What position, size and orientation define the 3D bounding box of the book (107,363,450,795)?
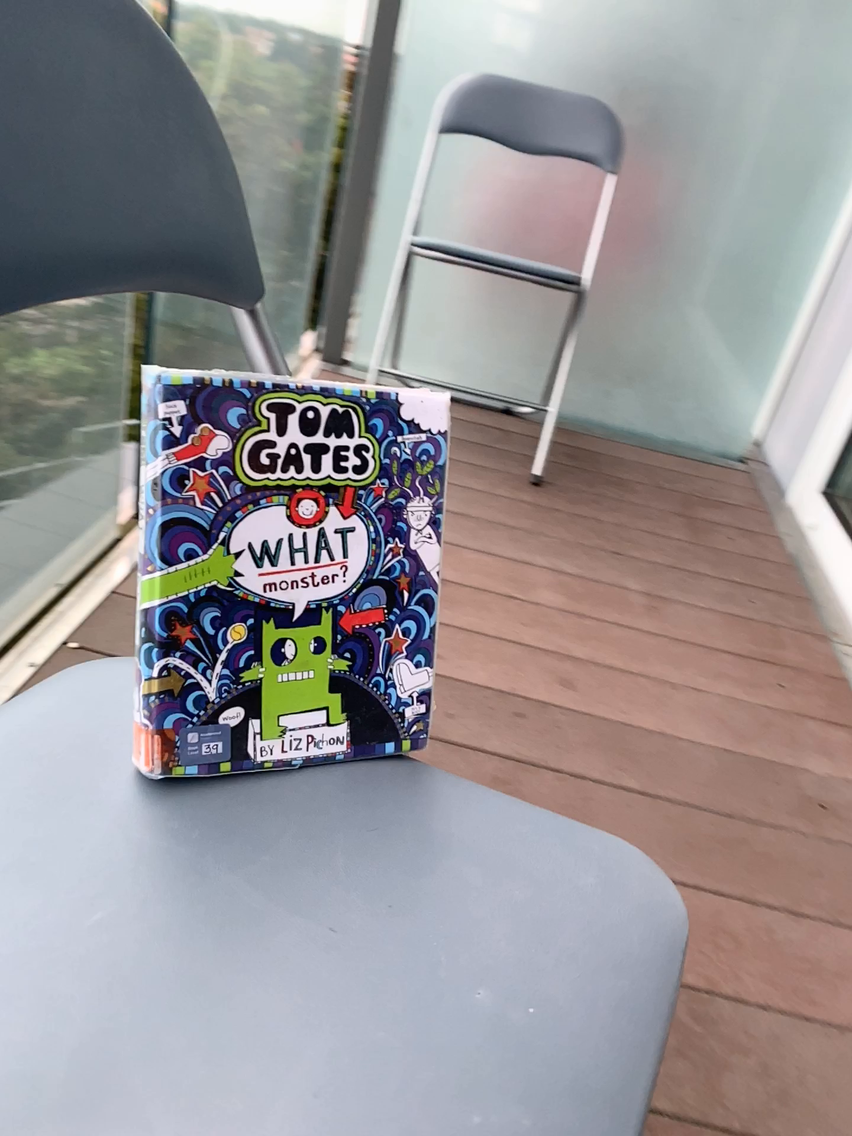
[{"bbox_3d":[-0.077,0.002,0.451,0.160,0.199,0.050,-1,11,-25],"label":"book"}]
